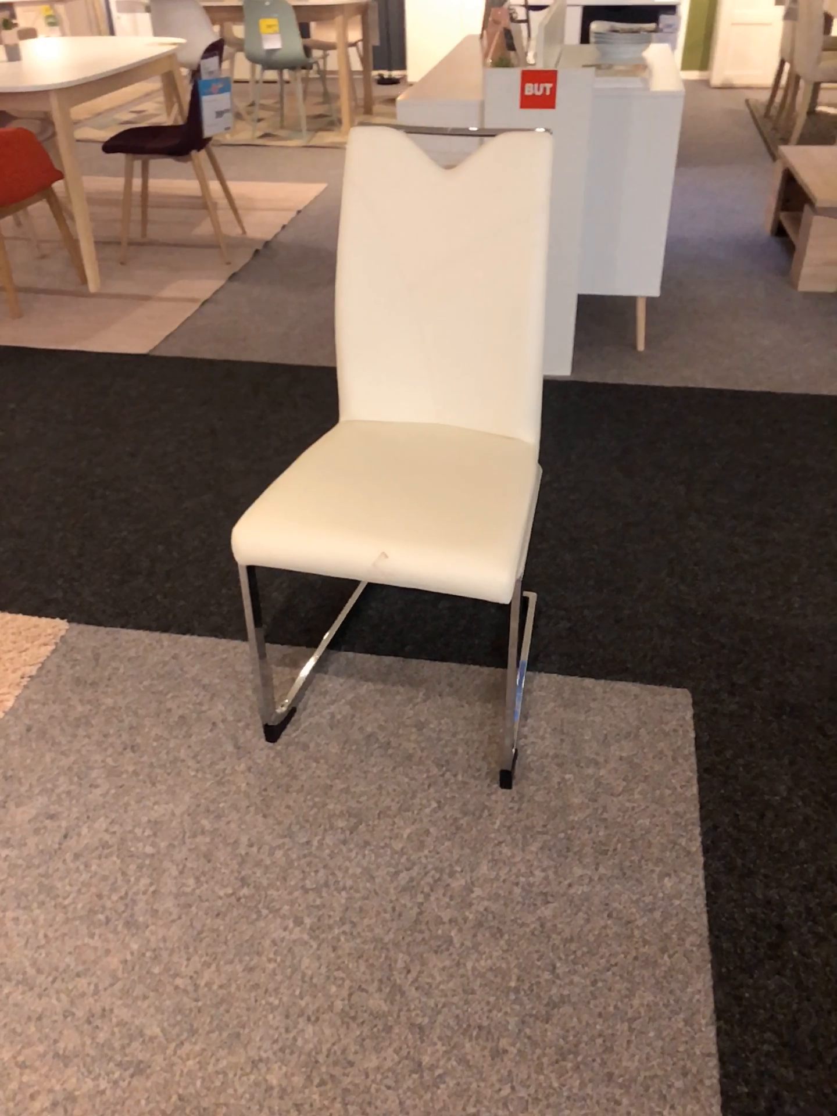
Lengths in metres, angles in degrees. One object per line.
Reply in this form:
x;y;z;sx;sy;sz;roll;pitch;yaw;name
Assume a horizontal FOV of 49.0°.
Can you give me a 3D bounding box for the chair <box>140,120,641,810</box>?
0.023;-0.174;1.550;0.560;0.915;0.634;7;36;11;chair
